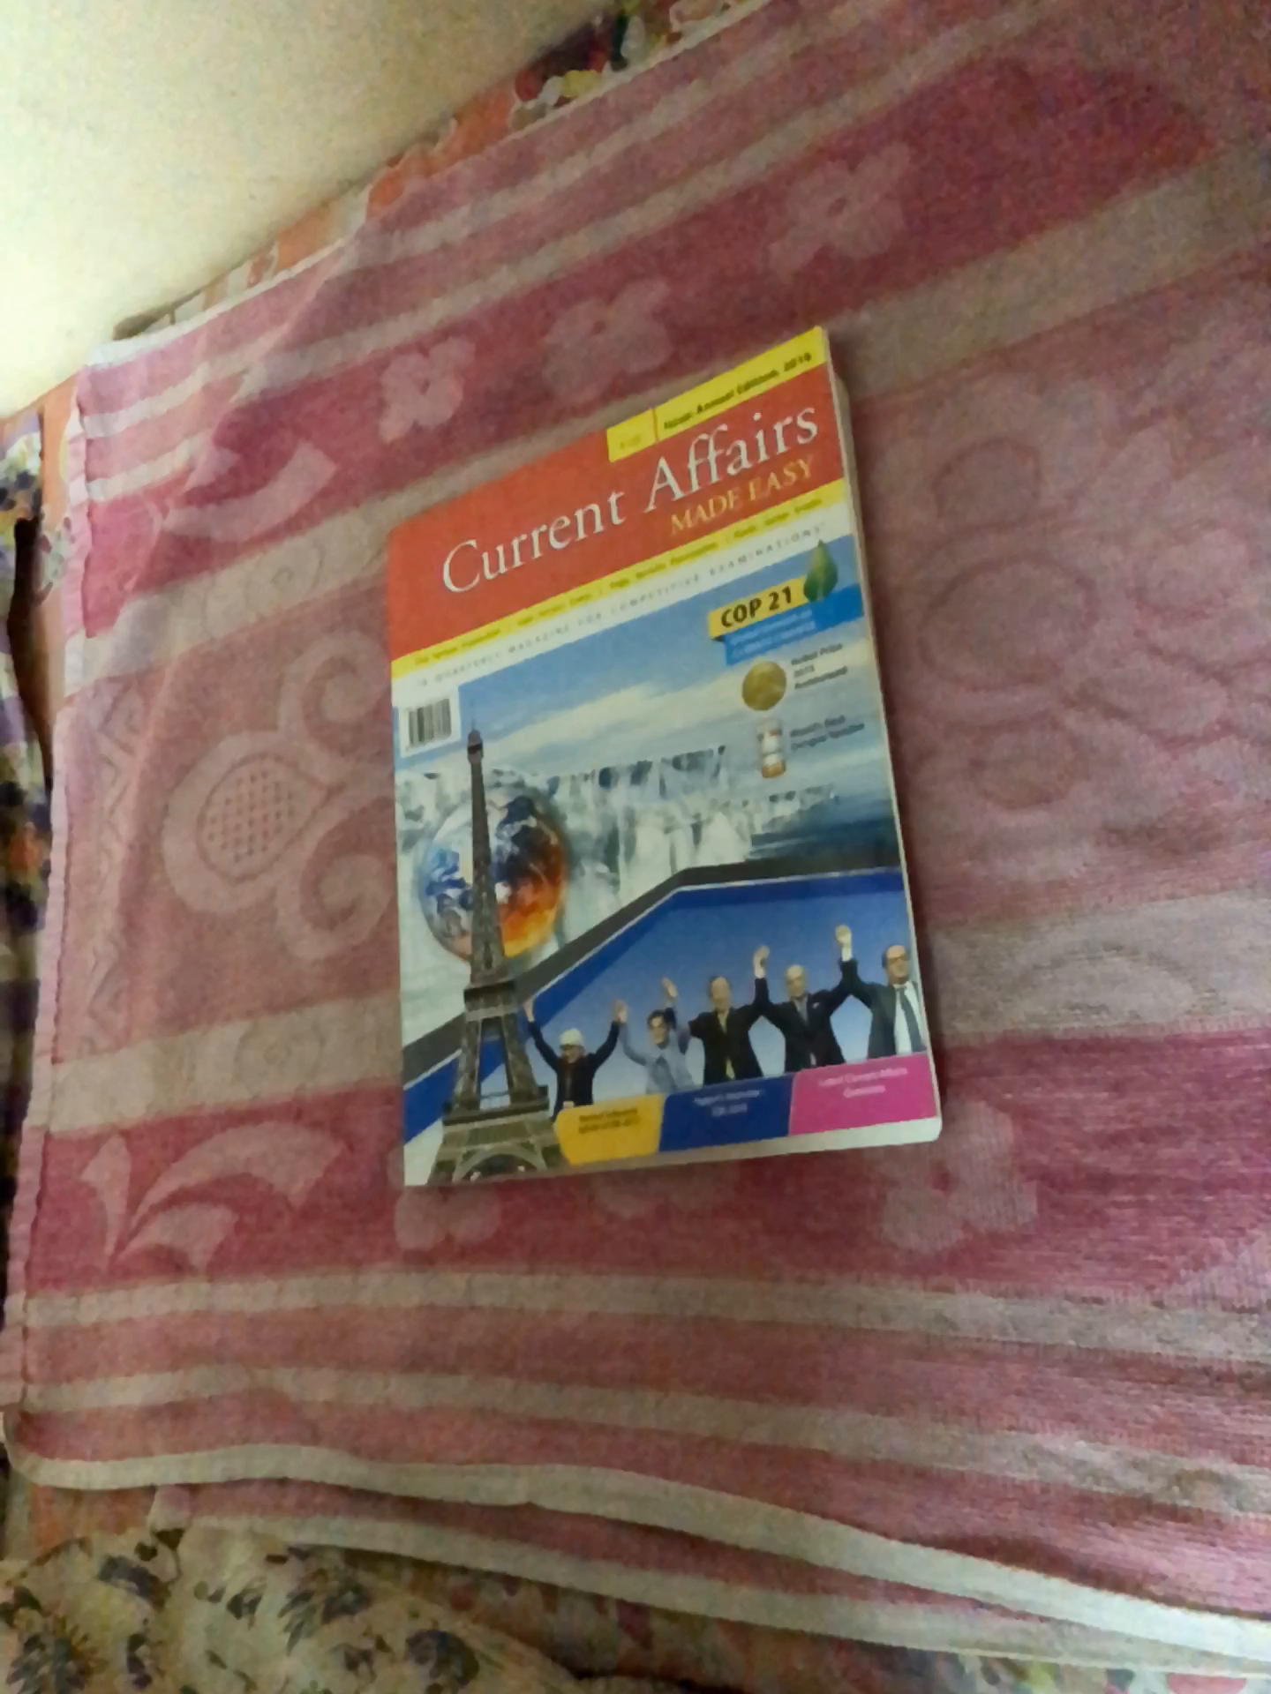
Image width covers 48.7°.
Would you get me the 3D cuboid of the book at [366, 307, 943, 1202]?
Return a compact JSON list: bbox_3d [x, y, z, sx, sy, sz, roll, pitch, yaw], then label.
[{"bbox_3d":[-0.011,-0.024,0.488,0.206,0.025,0.270,-15,70,33],"label":"book"}]
